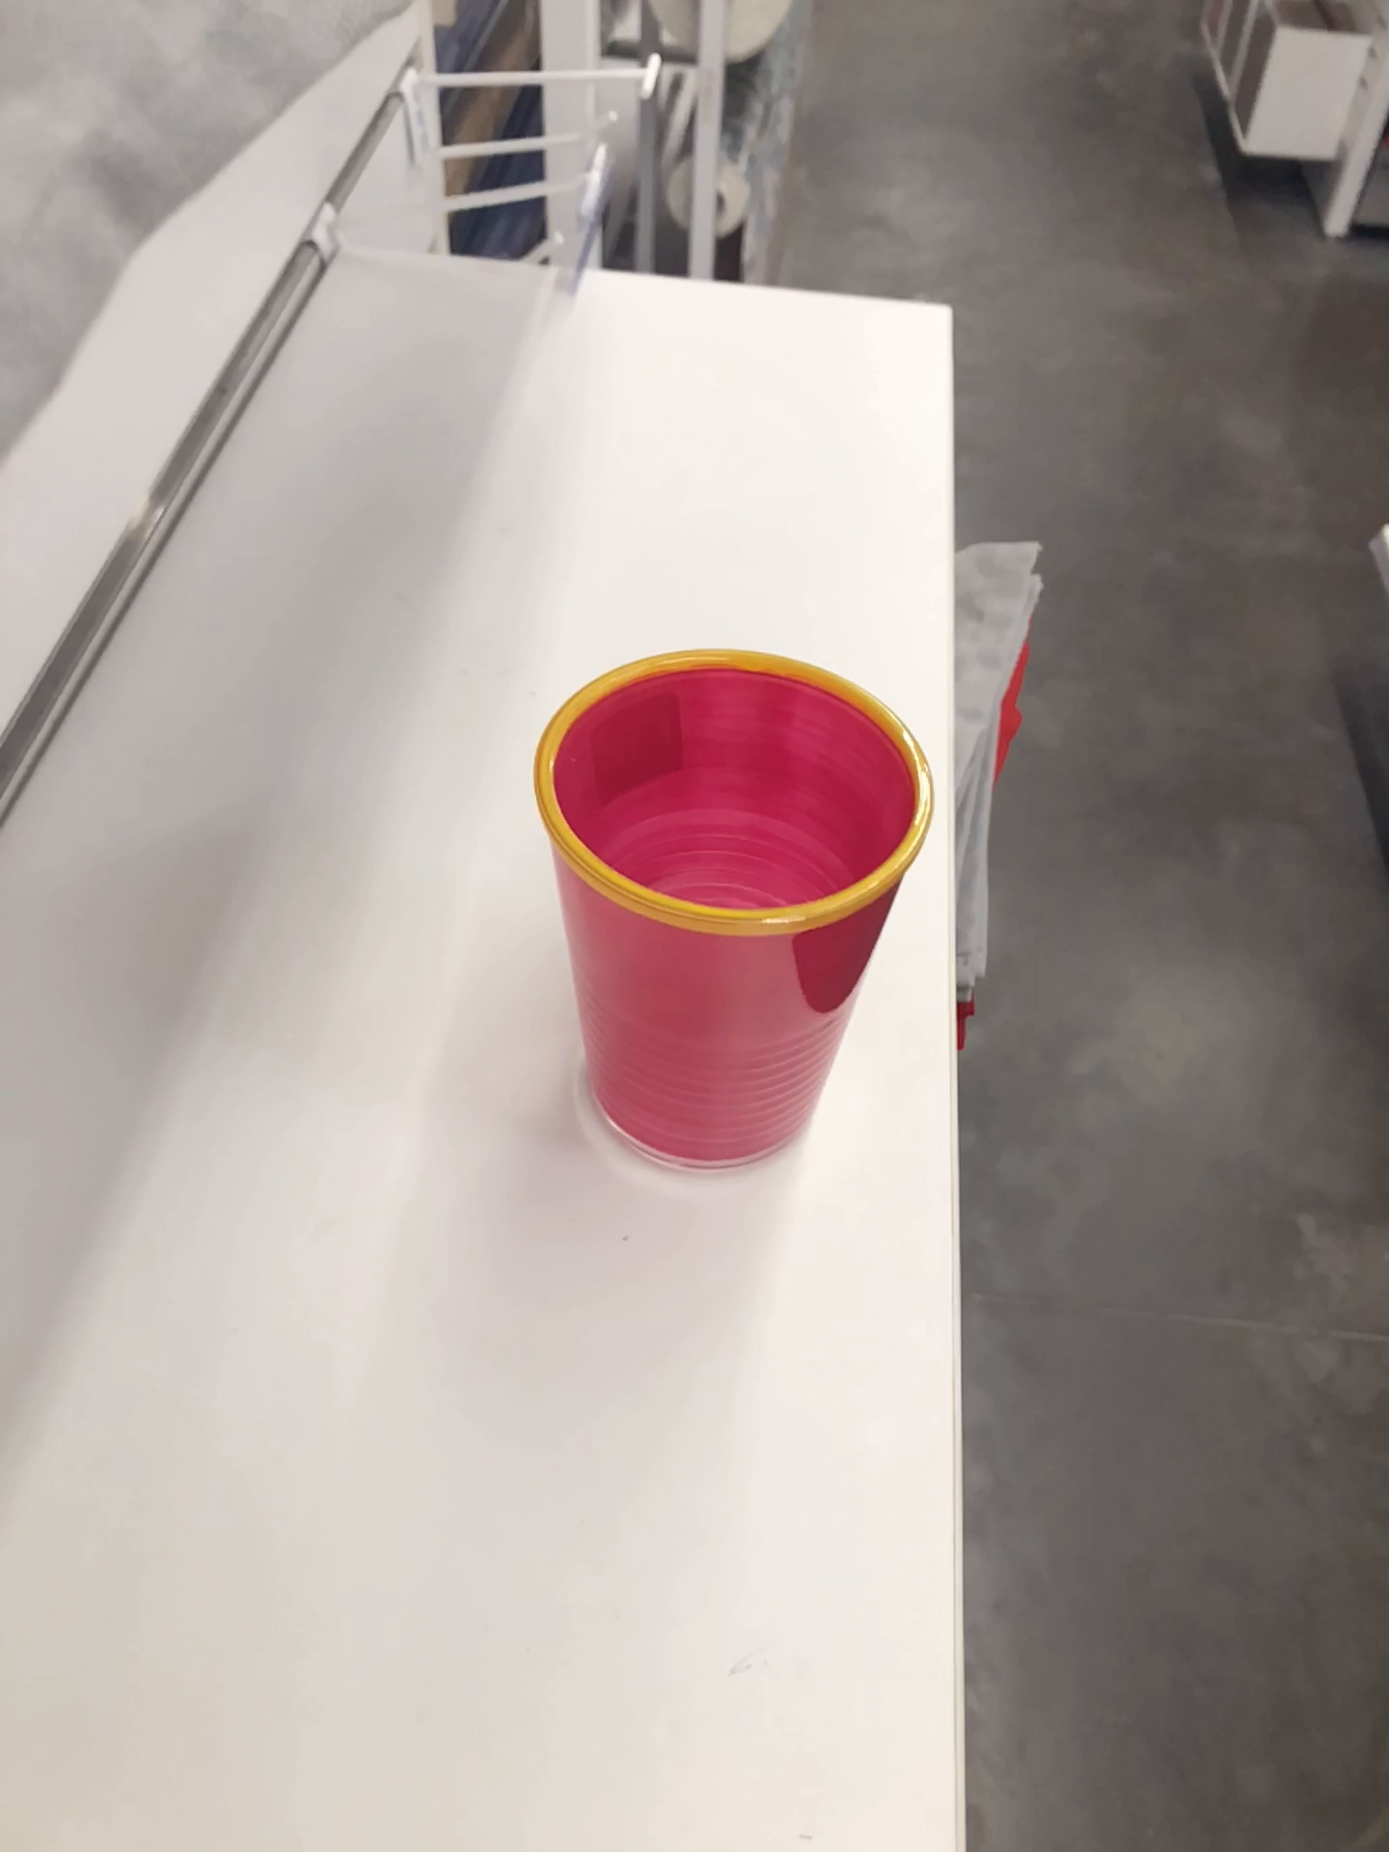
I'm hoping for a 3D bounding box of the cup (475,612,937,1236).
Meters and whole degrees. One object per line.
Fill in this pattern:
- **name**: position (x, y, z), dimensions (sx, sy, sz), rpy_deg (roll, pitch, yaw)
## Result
- **cup**: position (0.003, 0.000, 0.338), dimensions (0.079, 0.093, 0.085), rpy_deg (2, 48, -3)
